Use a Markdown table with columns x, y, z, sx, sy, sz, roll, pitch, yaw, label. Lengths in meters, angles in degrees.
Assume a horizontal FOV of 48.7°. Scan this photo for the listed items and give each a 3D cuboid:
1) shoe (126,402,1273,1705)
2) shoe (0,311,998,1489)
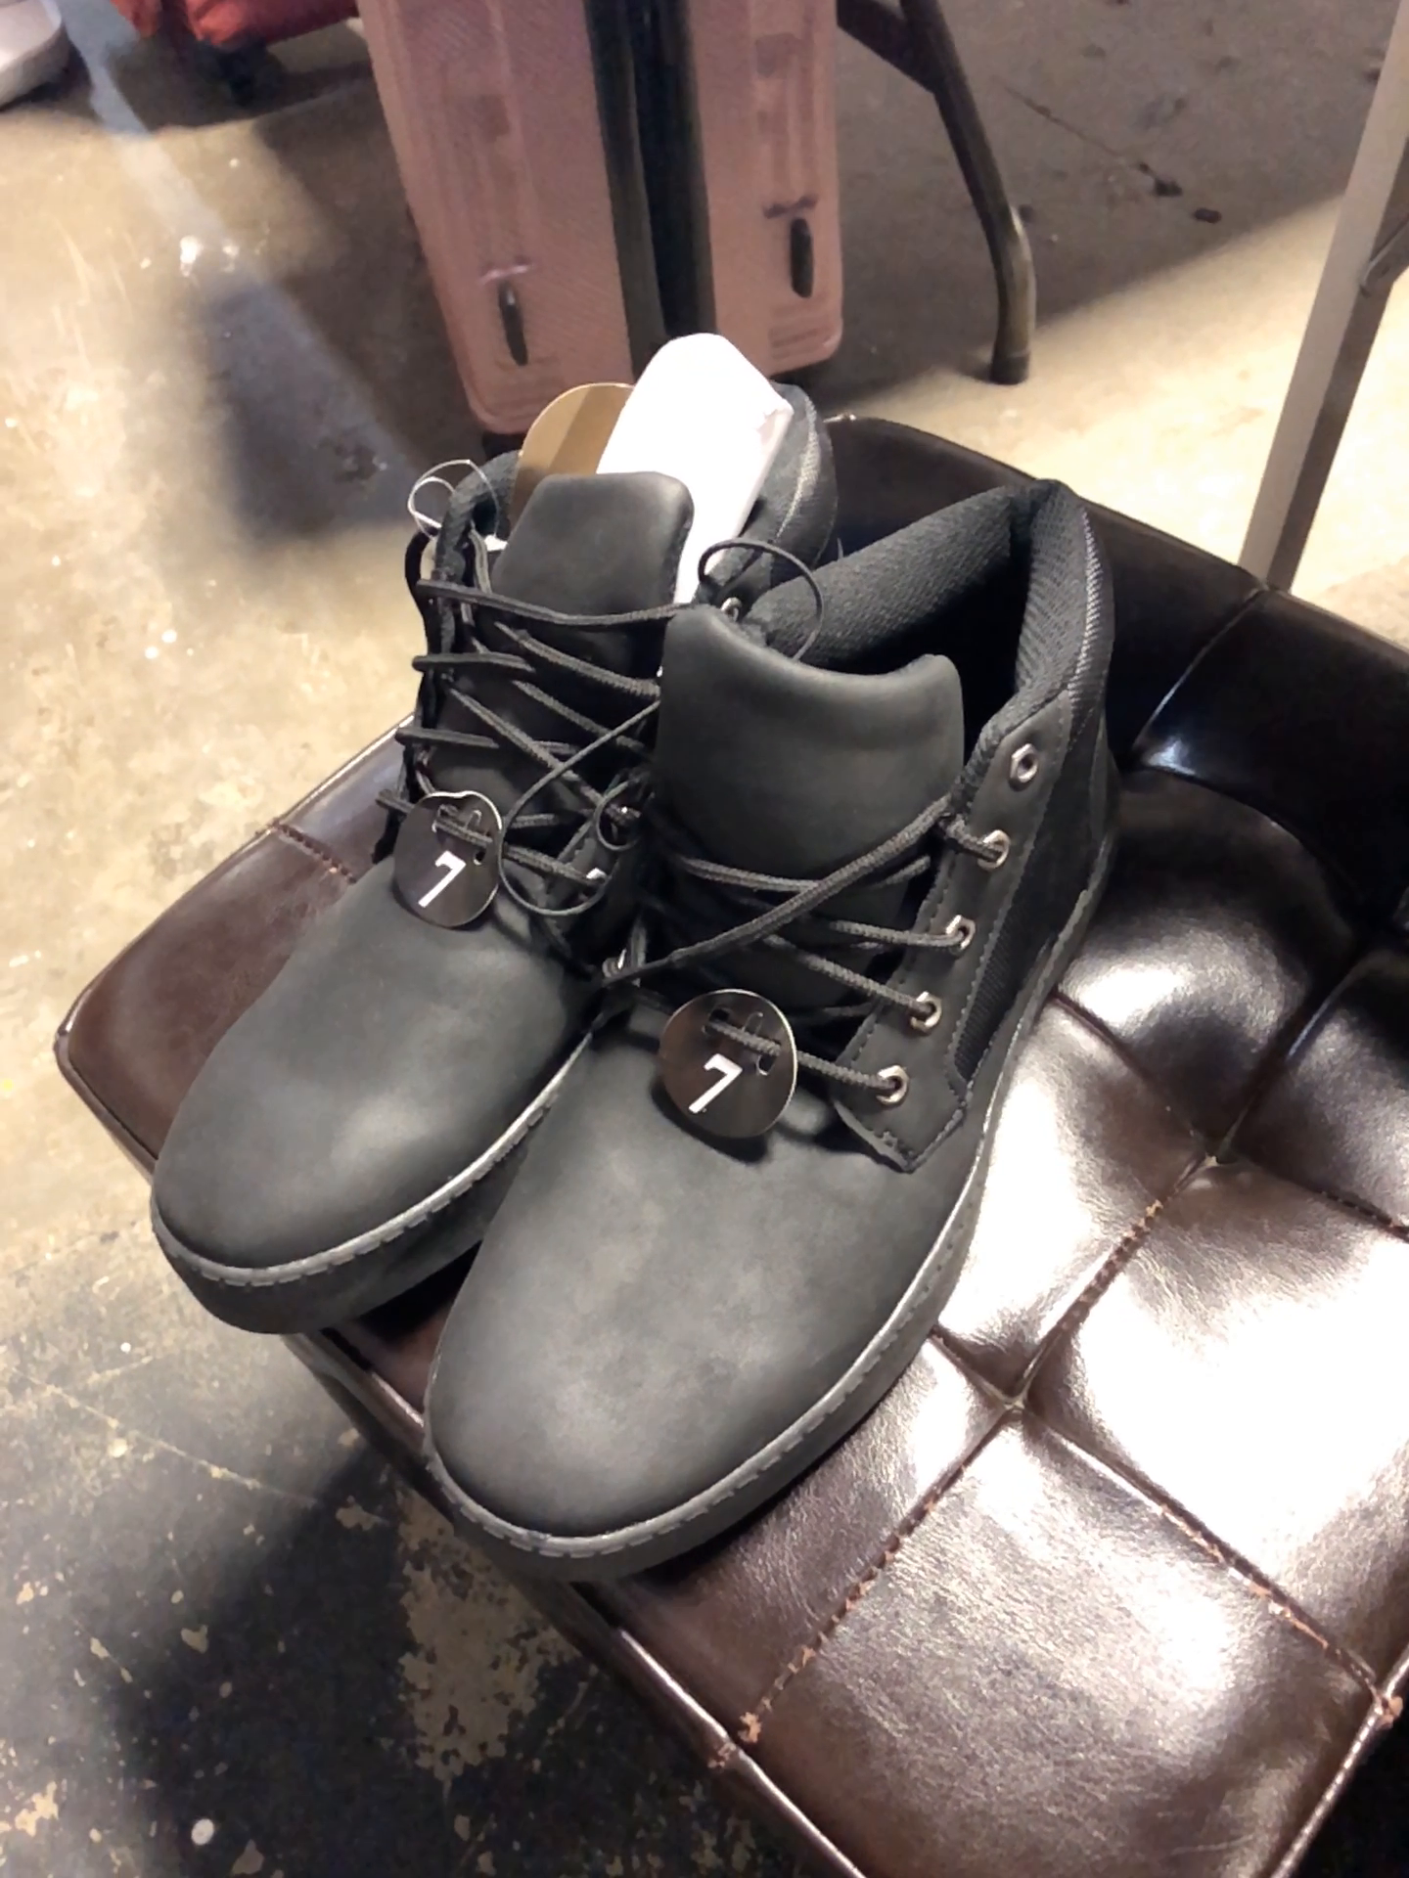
| x | y | z | sx | sy | sz | roll | pitch | yaw | label |
| --- | --- | --- | --- | --- | --- | --- | --- | --- | --- |
| 0.015 | 0.020 | 0.333 | 0.100 | 0.139 | 0.221 | 26 | 61 | 21 | shoe |
| -0.035 | -0.018 | 0.402 | 0.100 | 0.139 | 0.261 | 26 | 61 | 21 | shoe |
